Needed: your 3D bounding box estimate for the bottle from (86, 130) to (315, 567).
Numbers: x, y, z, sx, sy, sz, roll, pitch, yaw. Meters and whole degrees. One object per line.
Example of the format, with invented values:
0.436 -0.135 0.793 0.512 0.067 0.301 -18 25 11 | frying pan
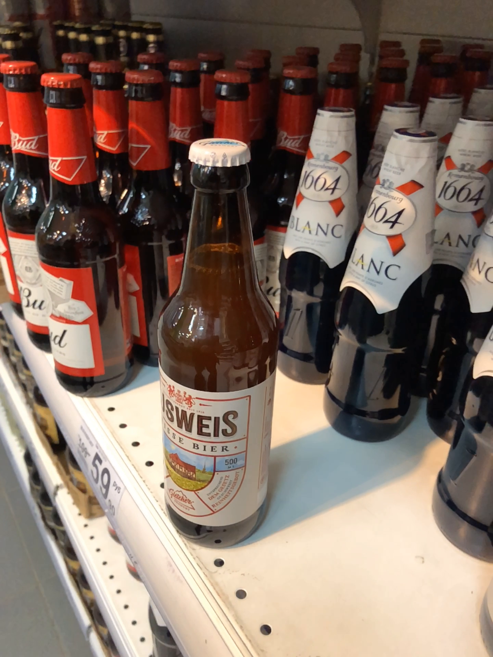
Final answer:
-0.020 0.017 0.311 0.080 0.229 0.070 17 34 26 | bottle
